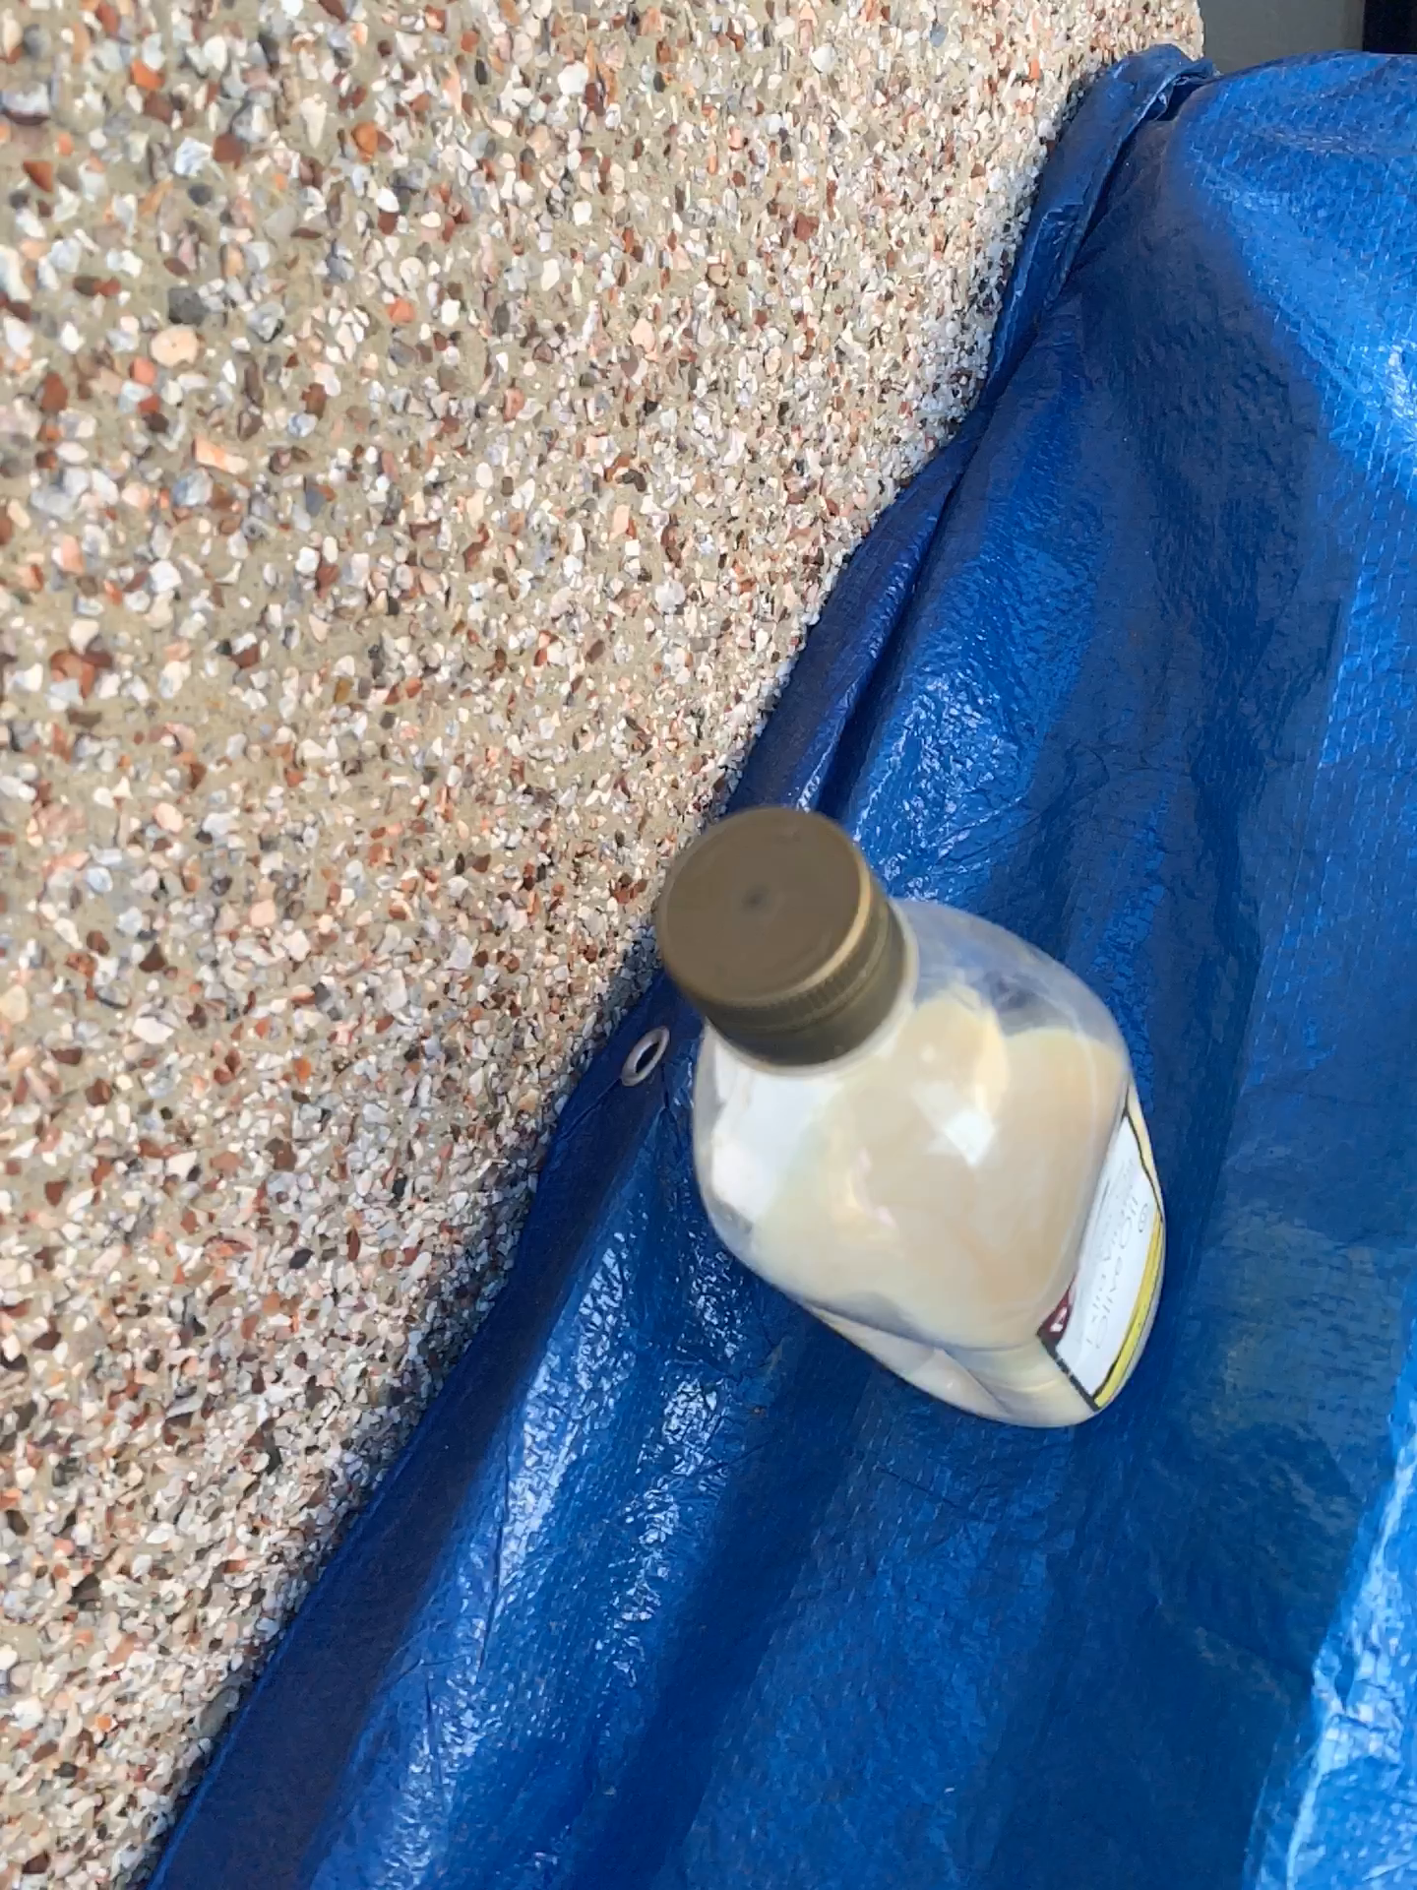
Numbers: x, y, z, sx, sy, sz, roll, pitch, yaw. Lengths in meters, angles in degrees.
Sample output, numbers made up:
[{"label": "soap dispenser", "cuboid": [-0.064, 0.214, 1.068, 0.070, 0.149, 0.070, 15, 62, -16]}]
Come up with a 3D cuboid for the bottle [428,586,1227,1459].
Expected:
[{"label": "bottle", "cuboid": [0.050, 0.039, 0.292, 0.080, 0.239, 0.080, -8, 65, 17]}]
